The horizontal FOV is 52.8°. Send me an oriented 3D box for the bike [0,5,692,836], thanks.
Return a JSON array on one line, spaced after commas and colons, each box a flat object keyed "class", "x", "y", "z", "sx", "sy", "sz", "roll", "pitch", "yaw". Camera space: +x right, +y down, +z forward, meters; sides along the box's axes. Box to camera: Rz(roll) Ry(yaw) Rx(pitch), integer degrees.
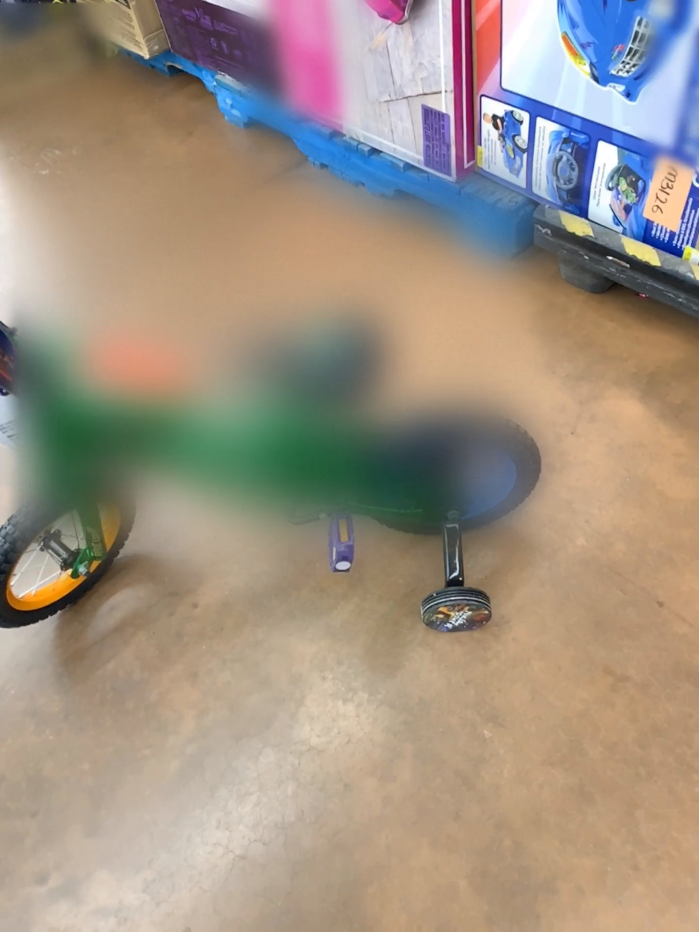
[{"class": "bike", "x": -0.152, "y": -0.006, "z": 0.868, "sx": 0.828, "sy": 0.677, "sz": 0.533, "roll": -11, "pitch": 51, "yaw": 0}]
